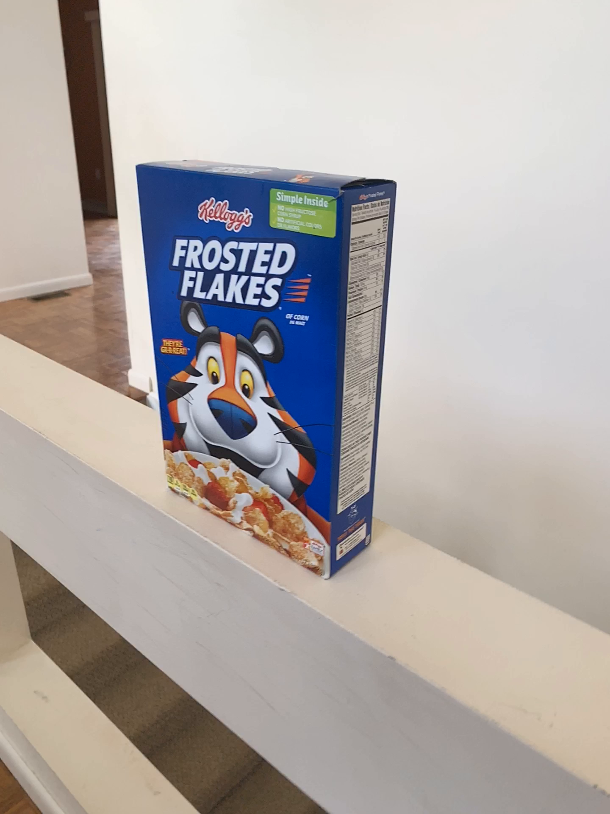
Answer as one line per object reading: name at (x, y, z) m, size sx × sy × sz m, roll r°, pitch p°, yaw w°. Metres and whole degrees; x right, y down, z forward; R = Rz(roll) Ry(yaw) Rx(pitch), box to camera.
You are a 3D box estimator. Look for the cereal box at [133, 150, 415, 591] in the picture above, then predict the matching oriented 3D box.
cereal box at (-0.031, -0.033, 0.481) m, size 0.201 × 0.288 × 0.060 m, roll 21°, pitch 33°, yaw 35°
